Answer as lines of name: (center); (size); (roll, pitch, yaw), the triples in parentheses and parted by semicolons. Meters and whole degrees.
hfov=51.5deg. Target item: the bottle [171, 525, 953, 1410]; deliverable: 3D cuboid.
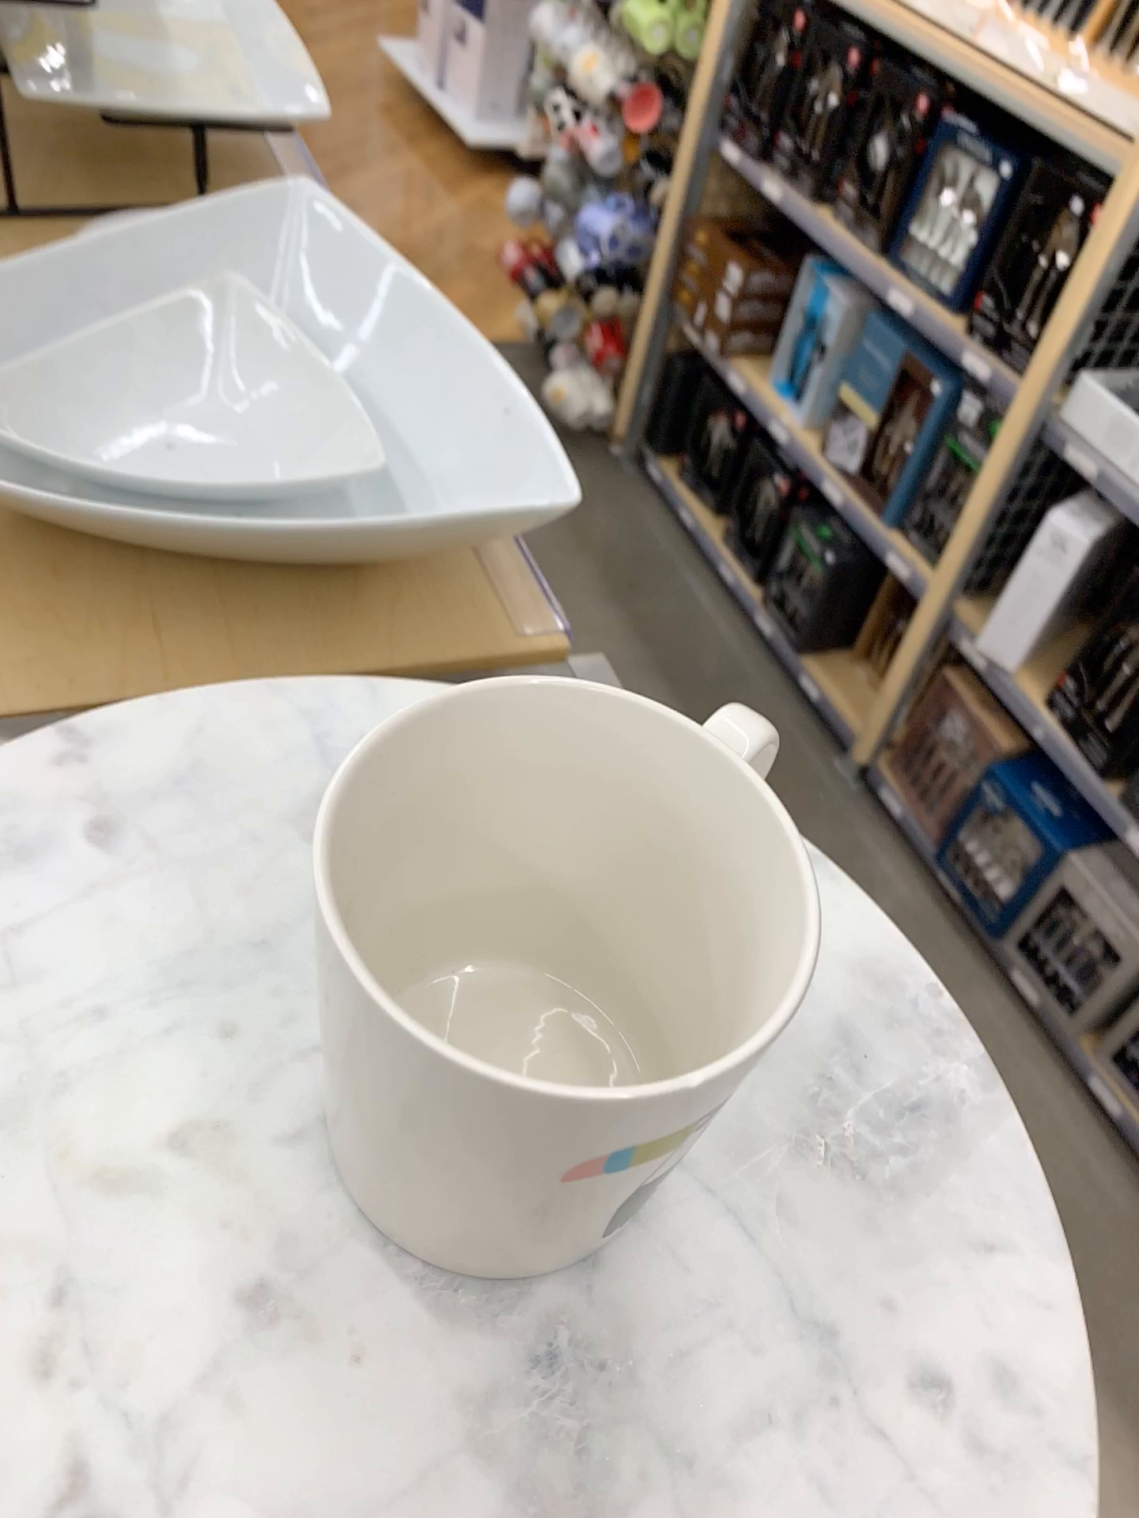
bottle: (0.000, 0.040, 0.280); (0.104, 0.107, 0.143); (29, 46, 15)
